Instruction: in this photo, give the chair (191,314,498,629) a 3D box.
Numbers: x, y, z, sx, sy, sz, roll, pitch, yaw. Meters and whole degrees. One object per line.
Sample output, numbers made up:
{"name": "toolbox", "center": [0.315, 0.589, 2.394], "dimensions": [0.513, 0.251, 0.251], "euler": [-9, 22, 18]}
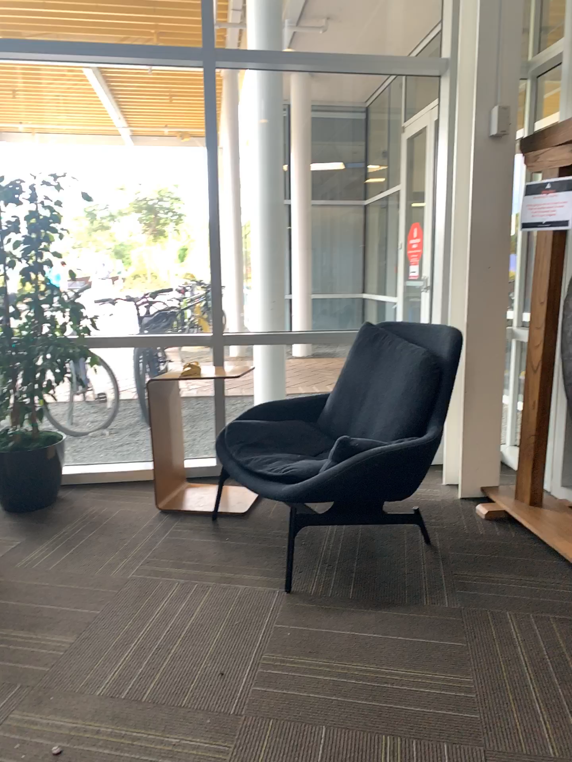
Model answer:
{"name": "chair", "center": [0.208, 0.249, 2.533], "dimensions": [0.939, 0.998, 0.903], "euler": [-6, 11, -29]}
